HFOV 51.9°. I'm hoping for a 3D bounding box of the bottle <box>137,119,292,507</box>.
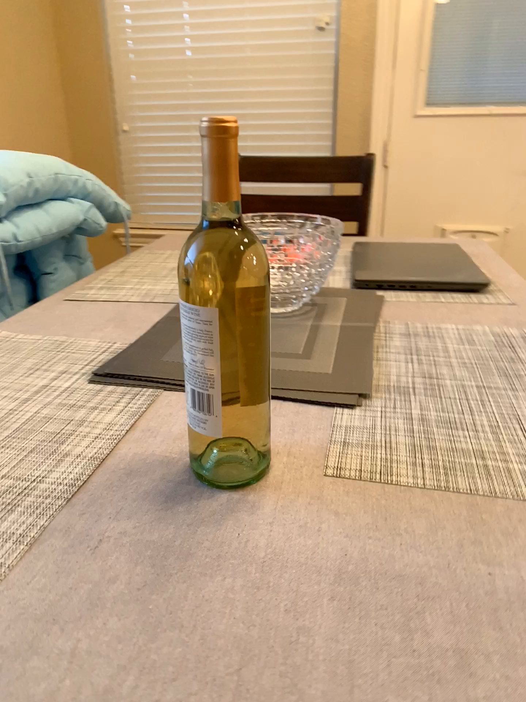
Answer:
[{"bbox_3d":[-0.036,-0.030,0.450,0.080,0.299,0.084,0,22,0],"label":"bottle"}]
